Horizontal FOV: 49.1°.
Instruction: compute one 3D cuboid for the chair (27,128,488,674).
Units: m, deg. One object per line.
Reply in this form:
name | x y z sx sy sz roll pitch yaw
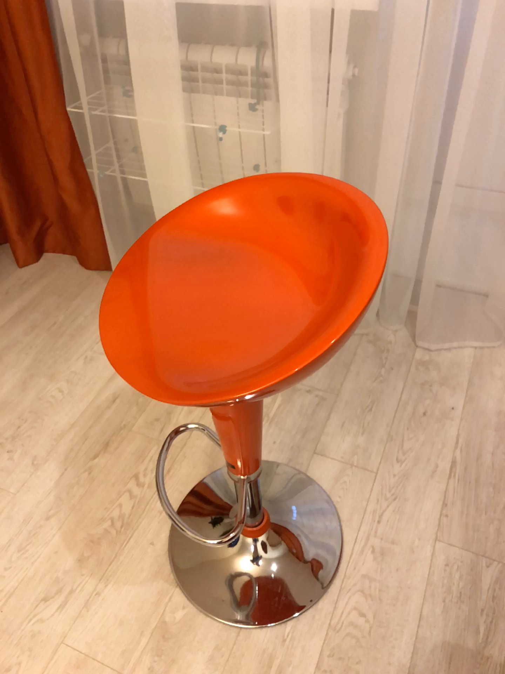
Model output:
chair | -0.011 0.151 0.846 0.390 0.735 0.403 -12 43 -8
